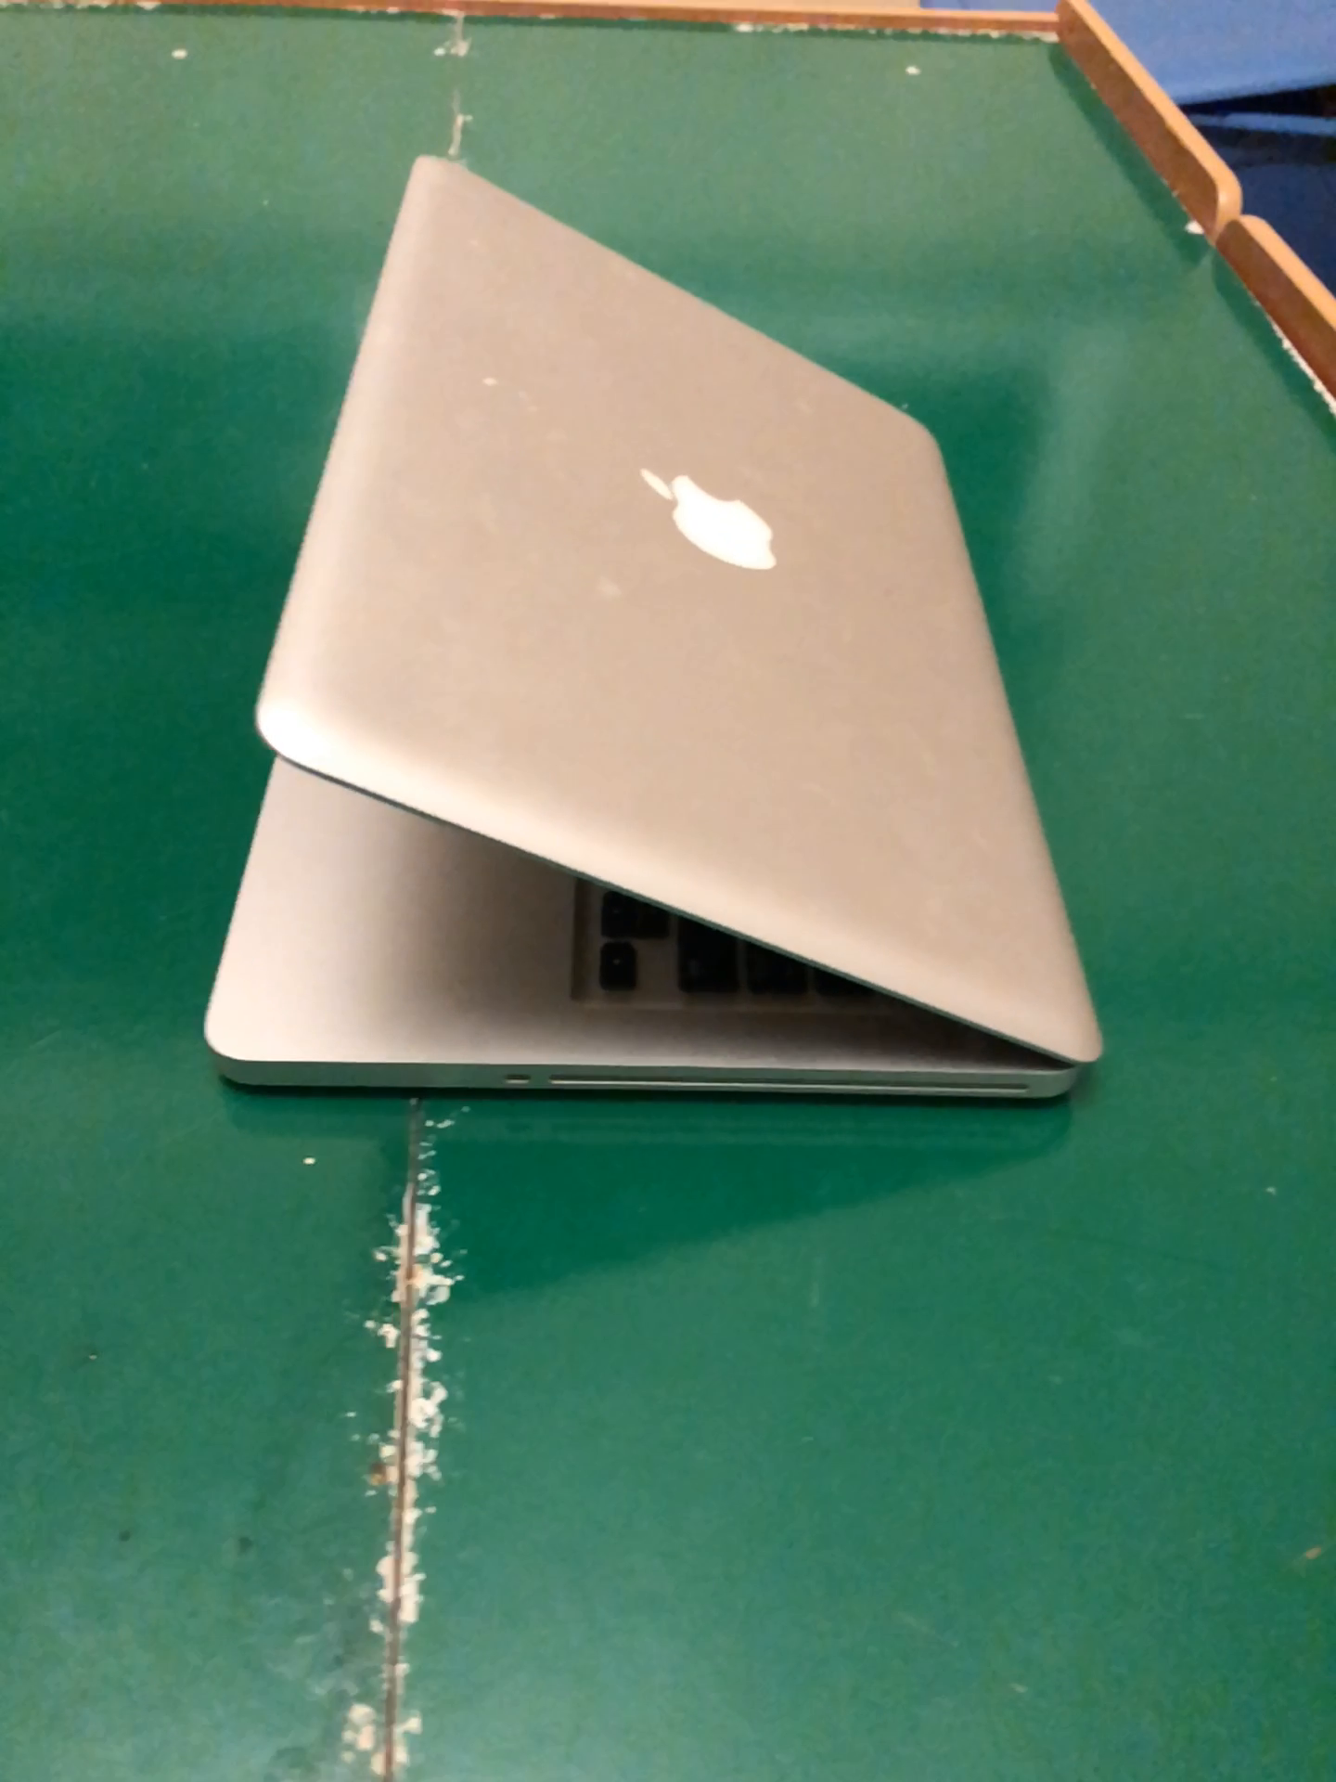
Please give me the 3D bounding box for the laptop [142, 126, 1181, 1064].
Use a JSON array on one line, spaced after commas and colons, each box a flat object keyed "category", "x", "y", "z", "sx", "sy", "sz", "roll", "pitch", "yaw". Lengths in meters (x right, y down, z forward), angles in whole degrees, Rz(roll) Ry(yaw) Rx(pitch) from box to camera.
[{"category": "laptop", "x": -0.001, "y": -0.109, "z": 0.440, "sx": 0.209, "sy": 0.098, "sz": 0.316, "roll": 3, "pitch": 46, "yaw": -4}]
